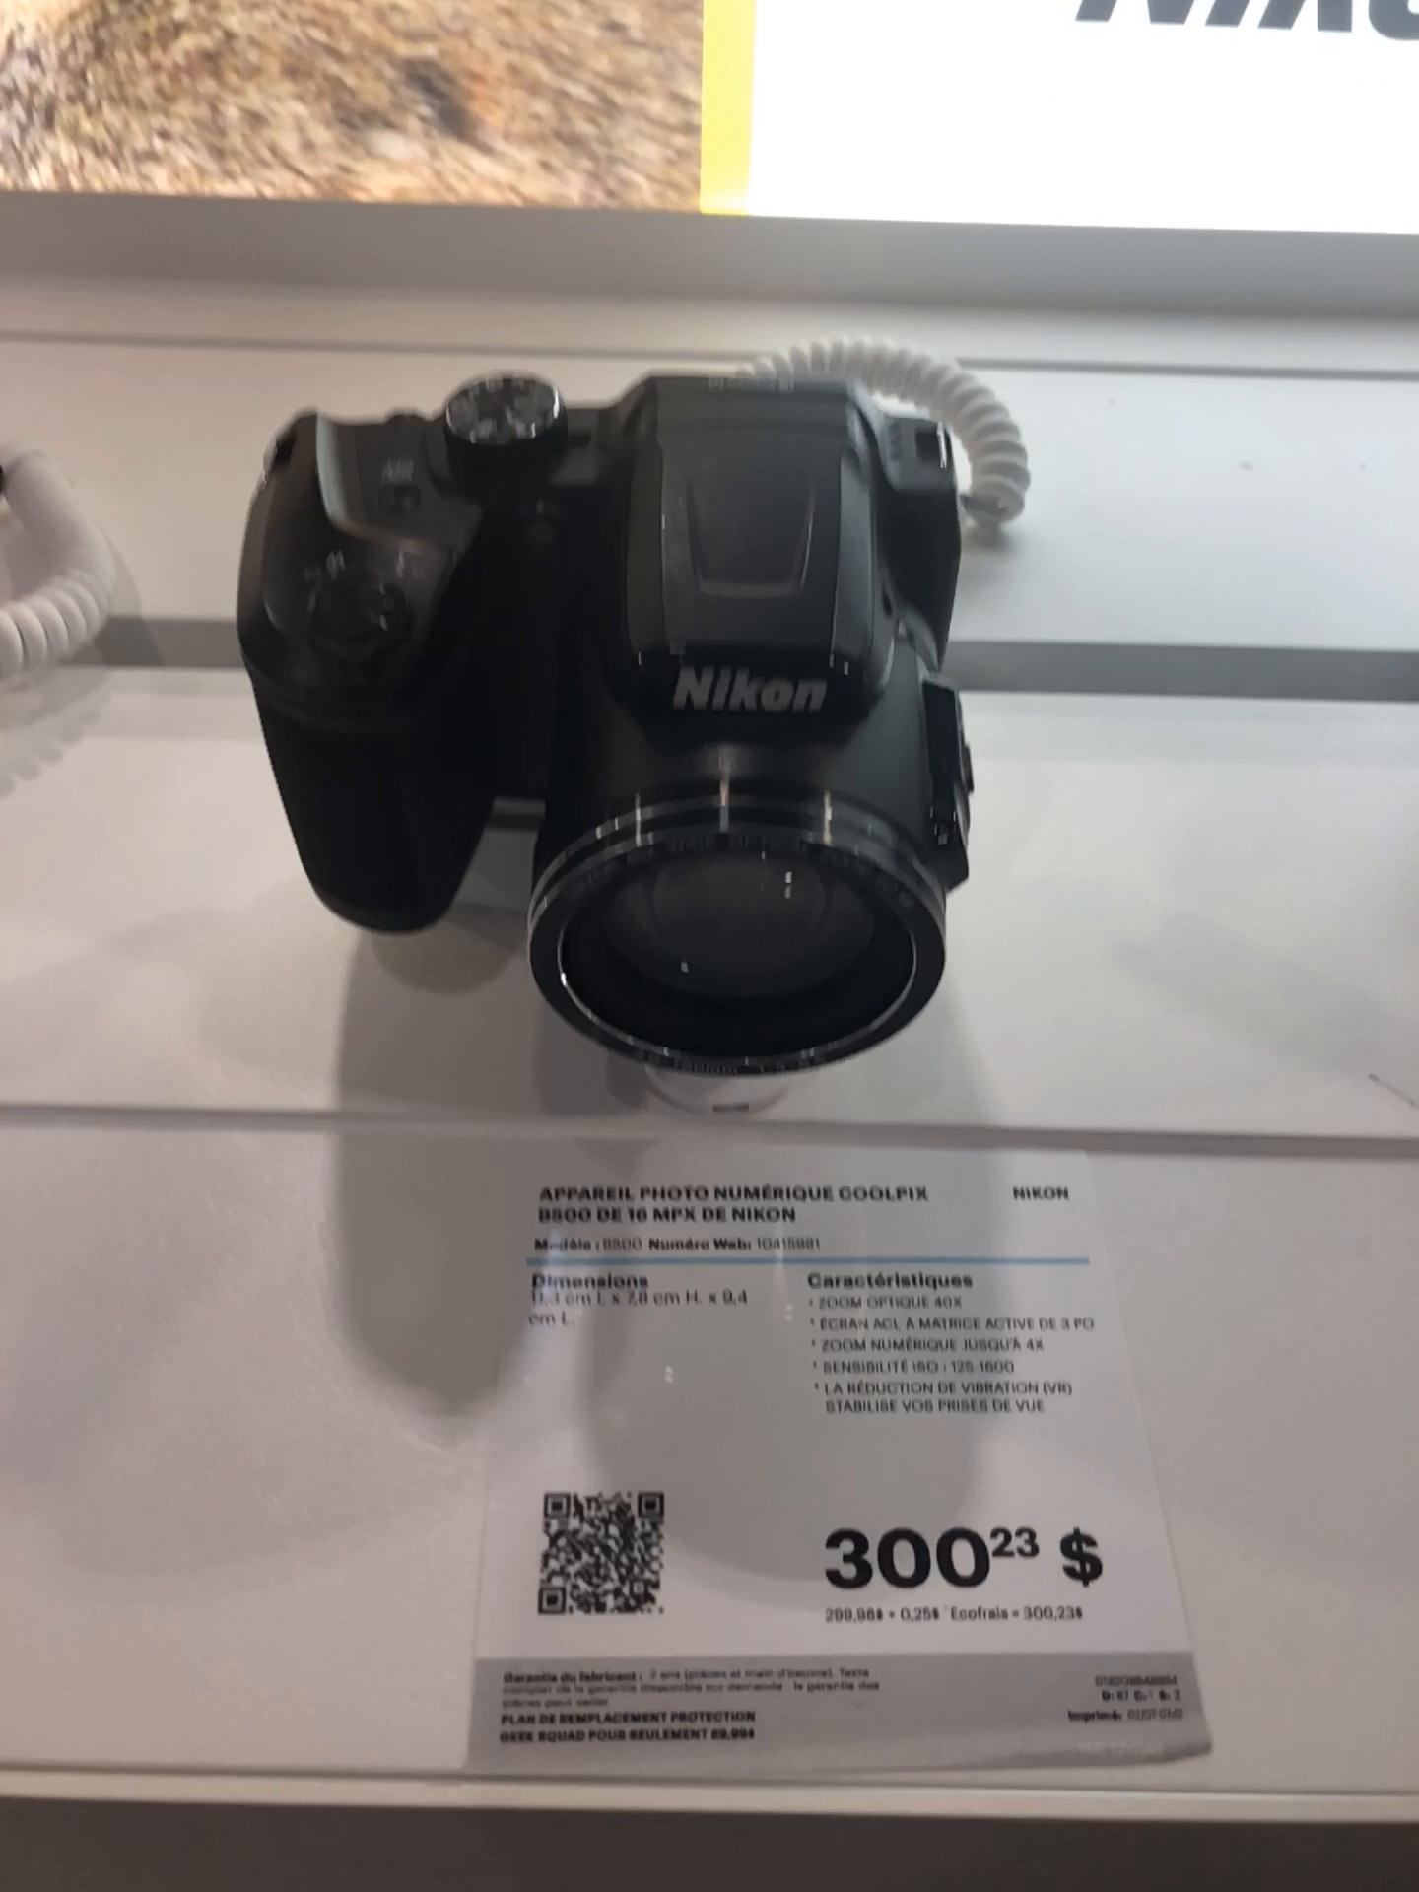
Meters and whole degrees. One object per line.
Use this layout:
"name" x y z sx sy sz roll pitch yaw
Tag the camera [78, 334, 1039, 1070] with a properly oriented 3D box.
"camera" -0.018 -0.037 0.236 0.111 0.069 0.085 1 47 -1
